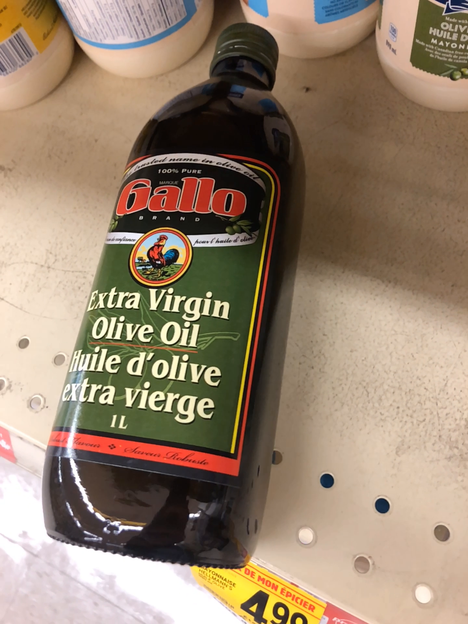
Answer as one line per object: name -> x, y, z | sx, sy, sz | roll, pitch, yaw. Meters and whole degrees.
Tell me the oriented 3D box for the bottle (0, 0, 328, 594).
bottle -> -0.016, -0.035, 0.241 | 0.090, 0.090, 0.271 | 5, 68, 13
